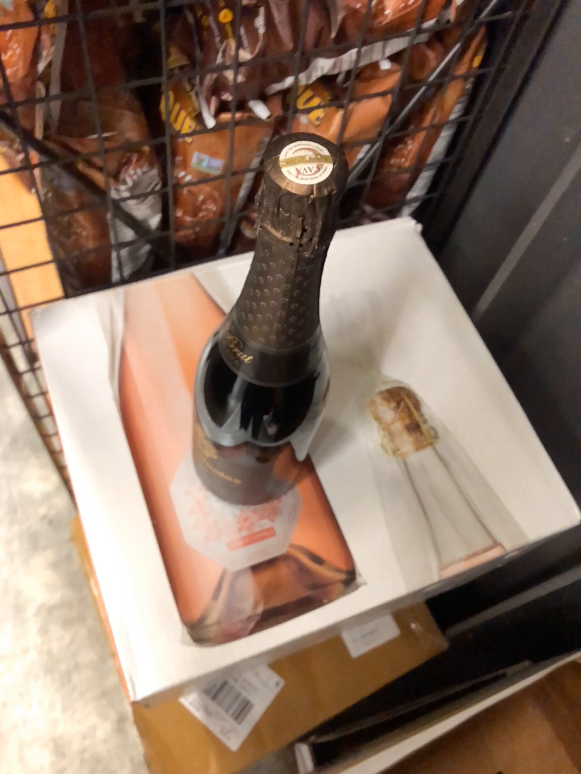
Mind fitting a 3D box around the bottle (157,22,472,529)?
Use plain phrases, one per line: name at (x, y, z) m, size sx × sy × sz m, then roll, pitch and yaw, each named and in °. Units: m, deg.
bottle at (-0.013, -0.023, 0.381) m, size 0.084 × 0.326 × 0.090 m, roll 4°, pitch 60°, yaw -6°
